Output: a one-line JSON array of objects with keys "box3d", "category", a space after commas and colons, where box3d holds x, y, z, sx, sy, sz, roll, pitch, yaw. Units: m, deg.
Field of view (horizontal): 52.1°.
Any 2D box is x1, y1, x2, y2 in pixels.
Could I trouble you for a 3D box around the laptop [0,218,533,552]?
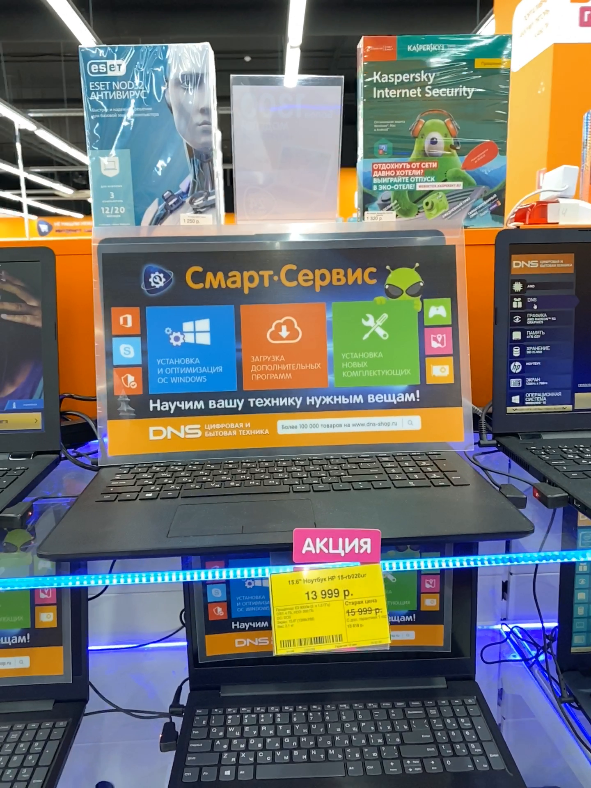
[{"box3d": [-0.021, -0.031, 0.574, 0.377, 0.235, 0.262, -2, 12, -1], "category": "laptop"}]
